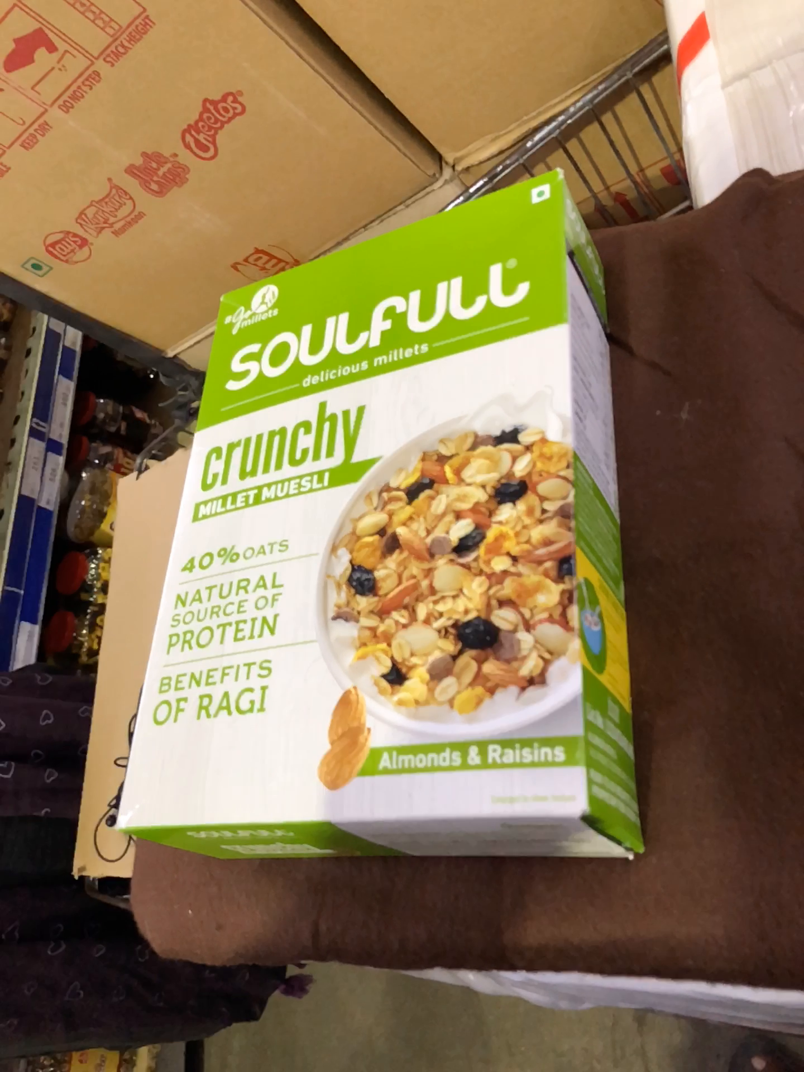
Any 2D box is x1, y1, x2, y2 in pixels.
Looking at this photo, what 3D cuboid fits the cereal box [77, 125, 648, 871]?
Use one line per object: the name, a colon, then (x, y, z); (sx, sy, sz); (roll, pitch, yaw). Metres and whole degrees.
cereal box: (-0.009, -0.014, 0.318); (0.160, 0.060, 0.241); (-14, 55, 28)
